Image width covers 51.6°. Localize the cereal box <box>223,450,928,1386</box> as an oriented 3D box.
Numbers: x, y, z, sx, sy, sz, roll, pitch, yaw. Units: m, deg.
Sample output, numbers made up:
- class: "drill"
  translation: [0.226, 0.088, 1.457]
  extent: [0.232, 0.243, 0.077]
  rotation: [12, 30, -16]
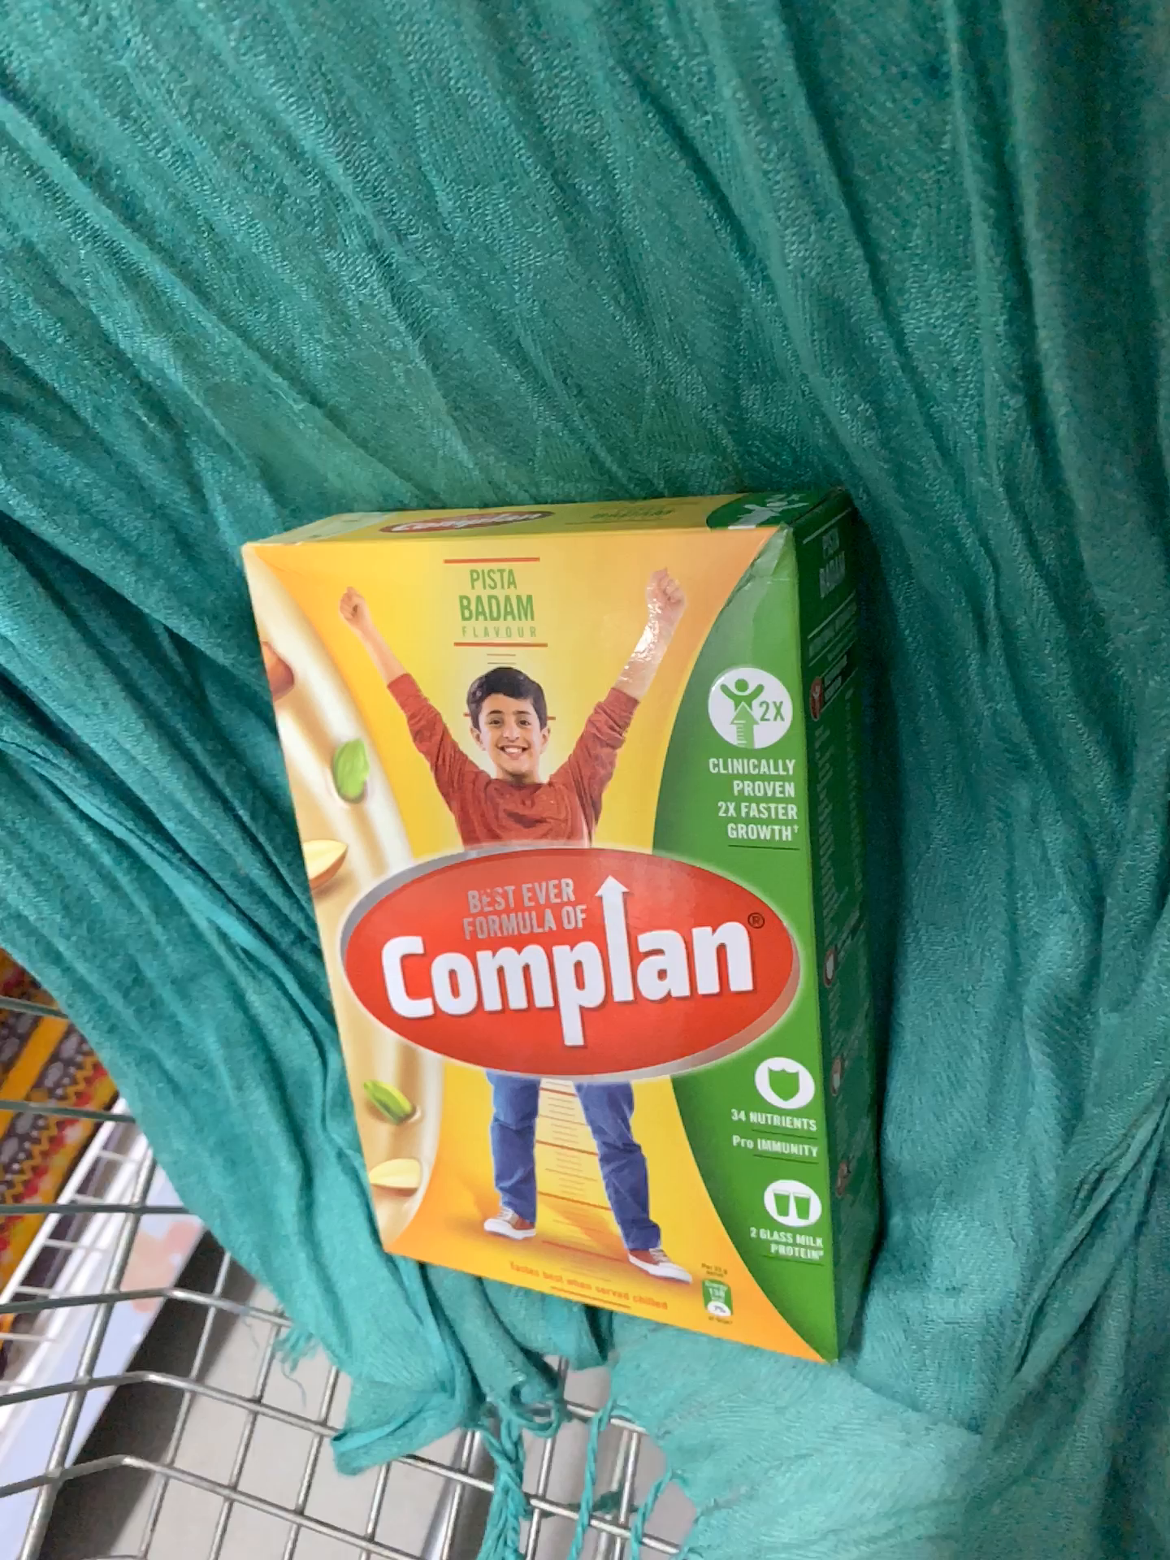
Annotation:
- class: "cereal box"
  translation: [0.005, 0.030, 0.300]
  extent: [0.140, 0.060, 0.200]
  rotation: [2, 109, 26]
